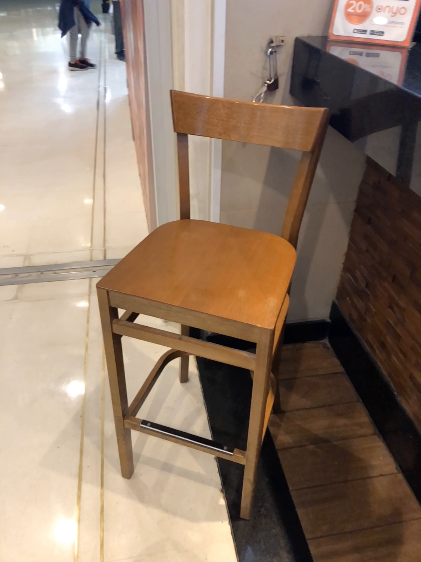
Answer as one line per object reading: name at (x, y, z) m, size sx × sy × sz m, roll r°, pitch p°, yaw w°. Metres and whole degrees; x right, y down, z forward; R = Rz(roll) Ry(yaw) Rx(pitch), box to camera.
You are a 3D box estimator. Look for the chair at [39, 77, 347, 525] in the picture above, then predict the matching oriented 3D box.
chair at (0.005, 0.065, 1.227) m, size 0.480 × 0.992 × 0.534 m, roll 11°, pitch 37°, yaw 13°
